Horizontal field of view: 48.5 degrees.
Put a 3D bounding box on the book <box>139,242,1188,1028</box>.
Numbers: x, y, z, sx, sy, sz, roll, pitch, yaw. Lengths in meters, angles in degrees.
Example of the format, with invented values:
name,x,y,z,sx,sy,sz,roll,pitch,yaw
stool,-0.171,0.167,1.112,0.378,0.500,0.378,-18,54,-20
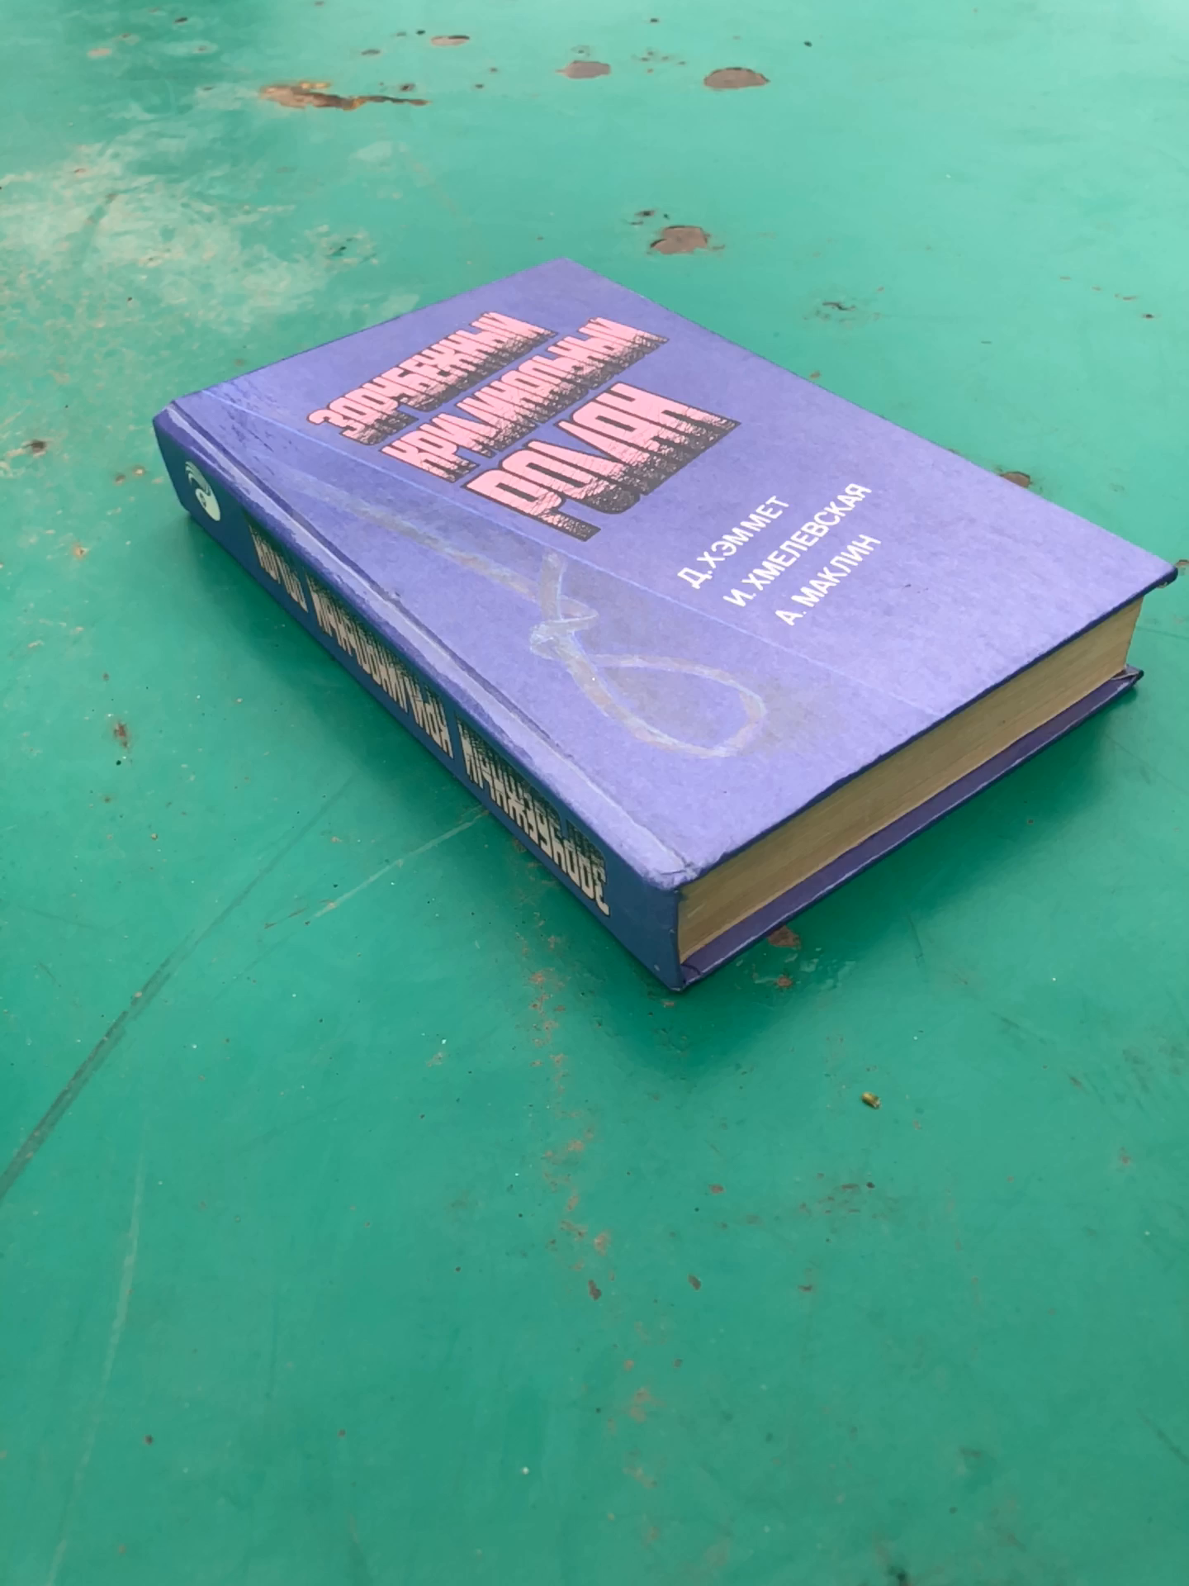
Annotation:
name,x,y,z,sx,sy,sz,roll,pitch,yaw
book,0.007,-0.059,0.299,0.137,0.030,0.209,-30,51,-24
